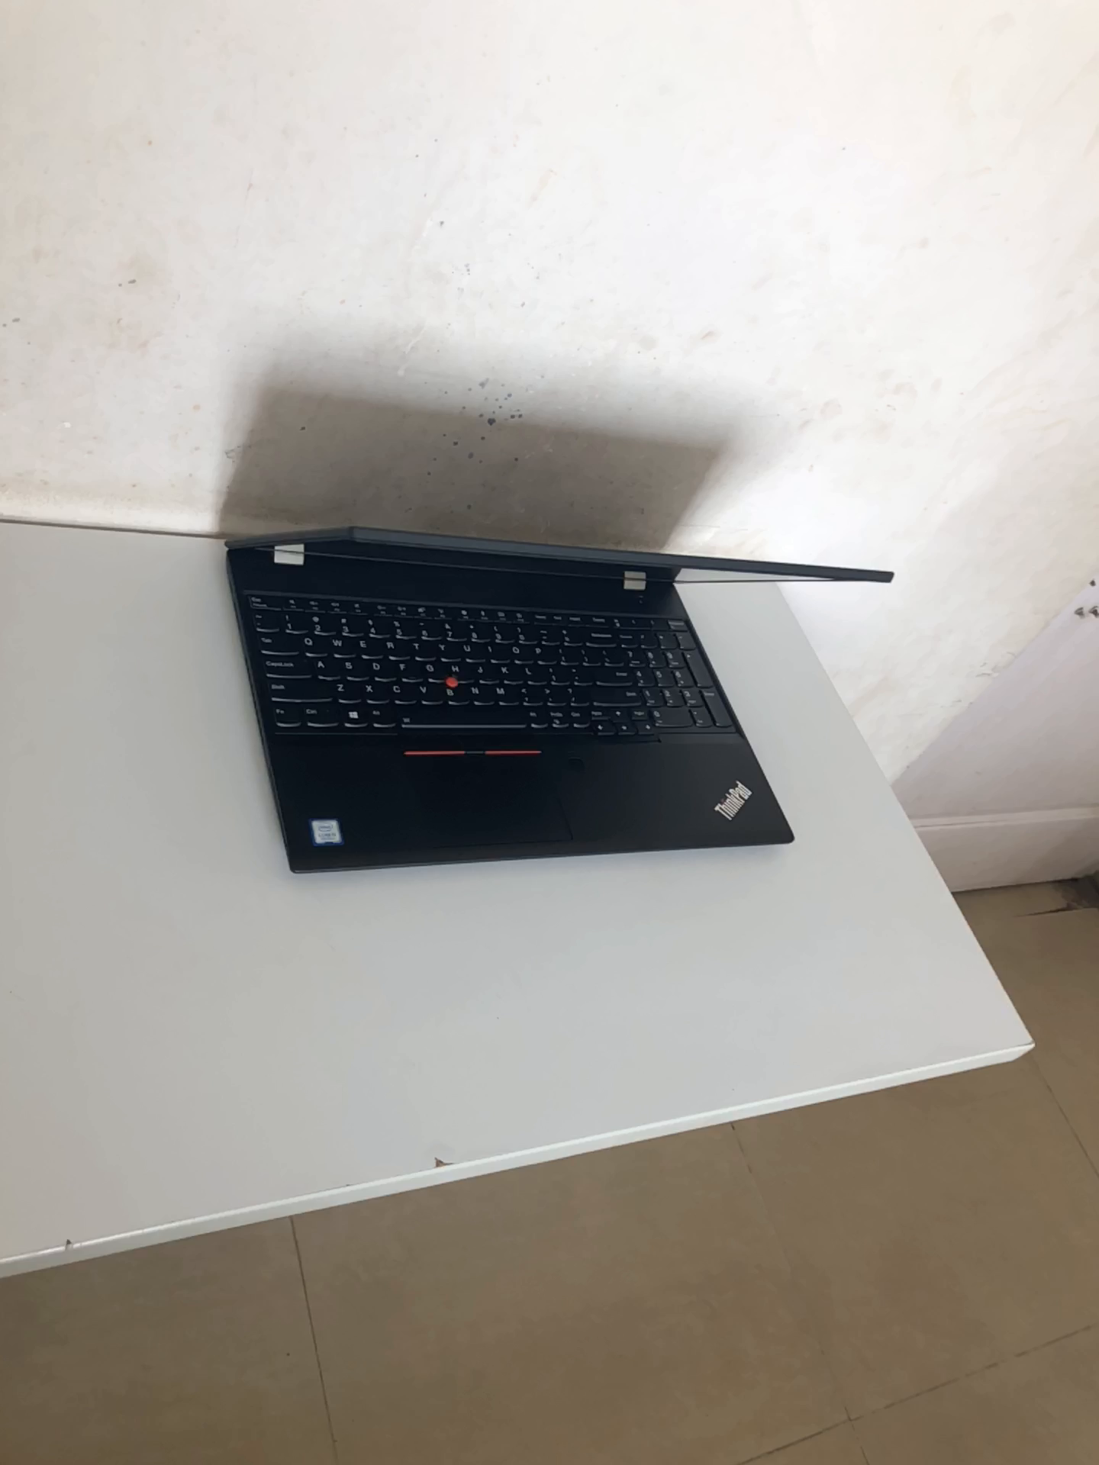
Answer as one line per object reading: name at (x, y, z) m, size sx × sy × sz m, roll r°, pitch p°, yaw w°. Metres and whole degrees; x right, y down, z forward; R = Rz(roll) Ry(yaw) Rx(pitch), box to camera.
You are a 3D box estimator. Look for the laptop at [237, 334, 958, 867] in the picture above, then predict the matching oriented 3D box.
laptop at (0.017, -0.072, 0.745) m, size 0.348 × 0.173 × 0.234 m, roll 0°, pitch 53°, yaw -28°
